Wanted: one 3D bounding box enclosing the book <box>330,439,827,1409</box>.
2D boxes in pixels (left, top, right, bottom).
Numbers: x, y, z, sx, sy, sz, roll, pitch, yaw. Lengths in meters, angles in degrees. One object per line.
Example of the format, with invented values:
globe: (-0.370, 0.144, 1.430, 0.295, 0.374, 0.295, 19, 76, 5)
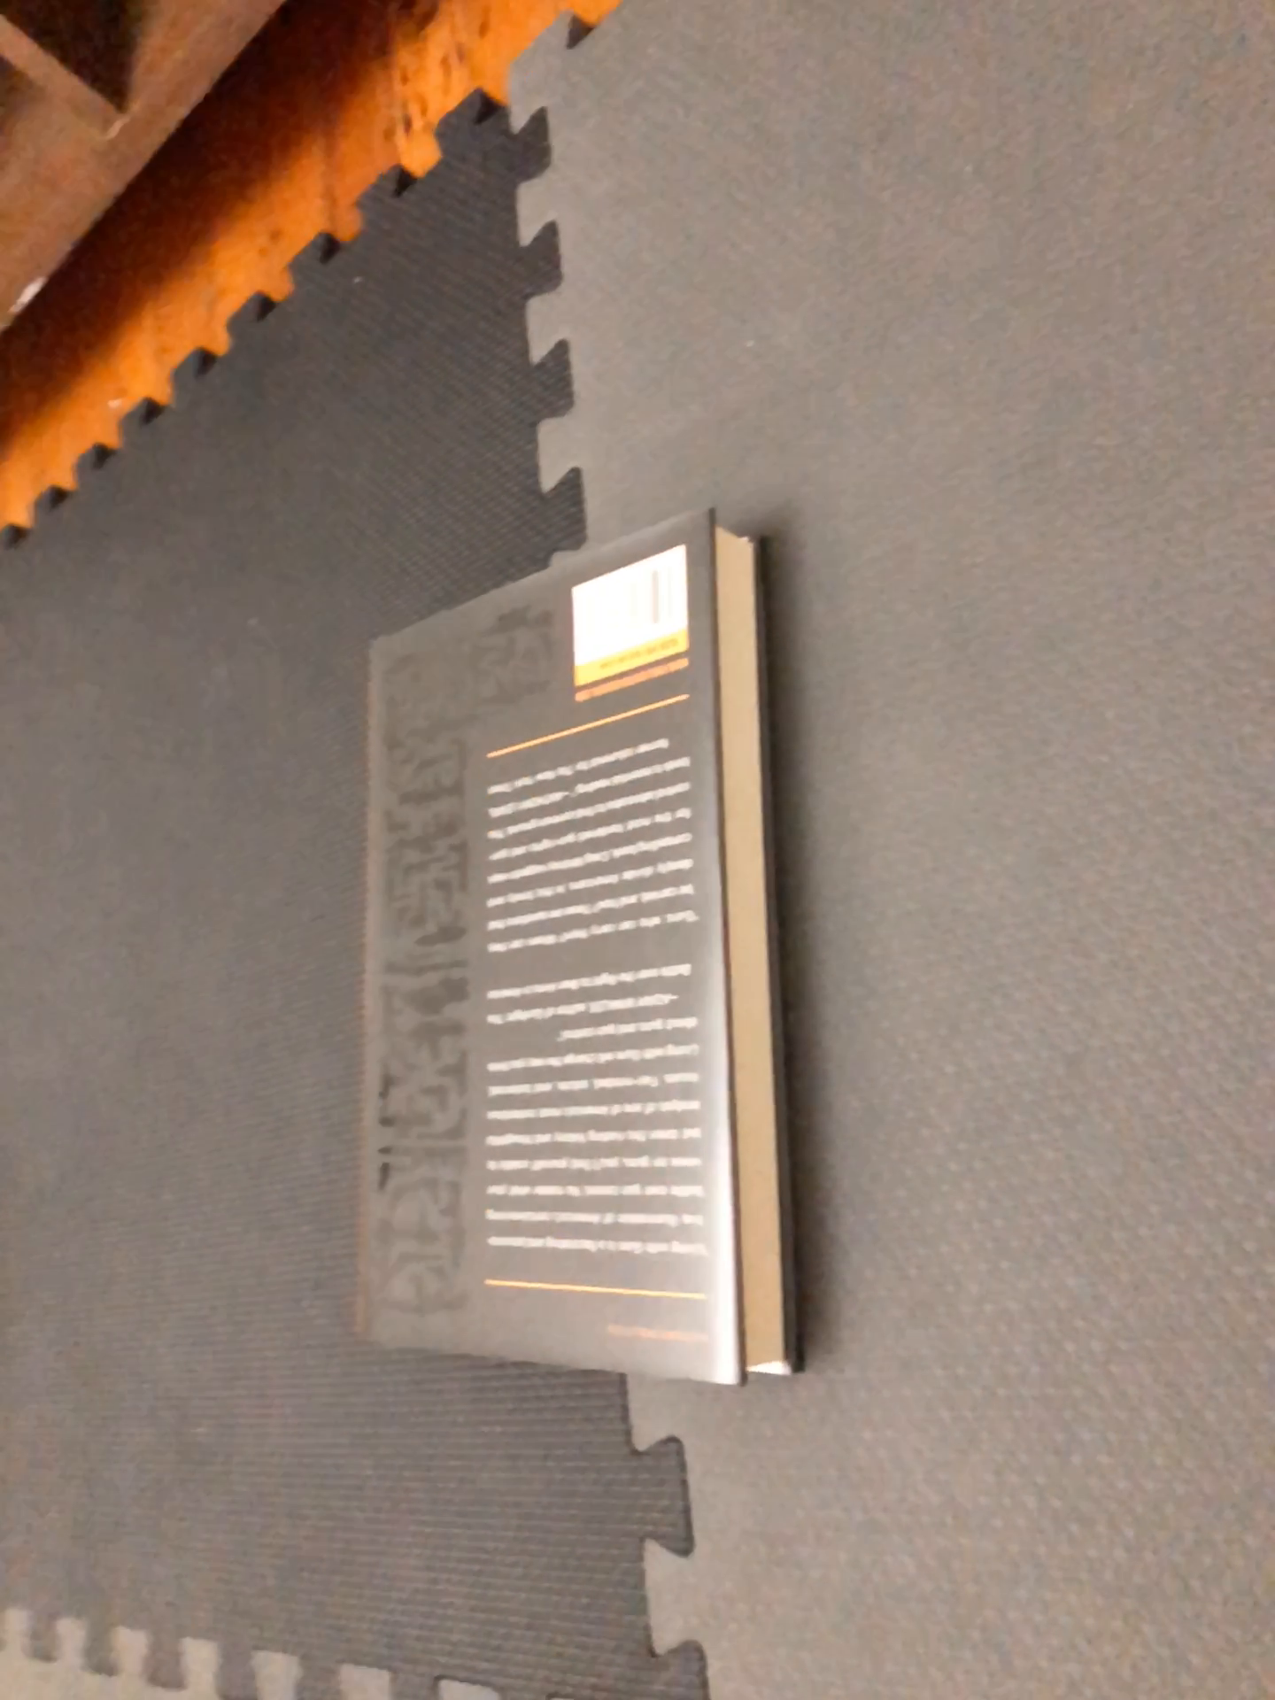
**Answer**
book: (-0.024, 0.025, 0.446, 0.171, 0.040, 0.260, -10, 74, 42)
